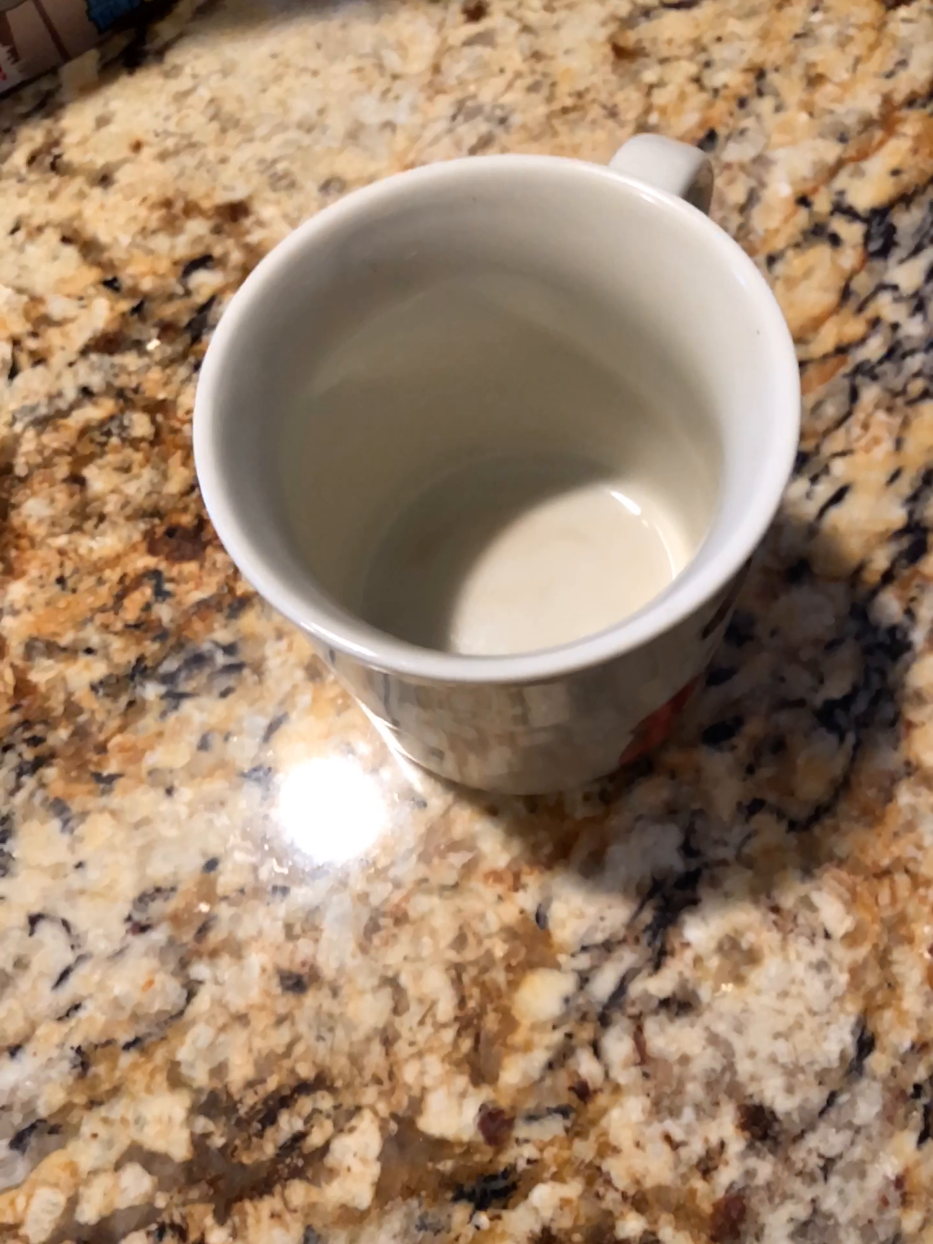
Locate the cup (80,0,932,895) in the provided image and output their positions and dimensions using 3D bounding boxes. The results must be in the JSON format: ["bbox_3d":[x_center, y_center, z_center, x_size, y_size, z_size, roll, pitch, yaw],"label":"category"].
[{"bbox_3d":[0.019,-0.031,0.185,0.090,0.090,0.120,19,72,13],"label":"cup"}]
